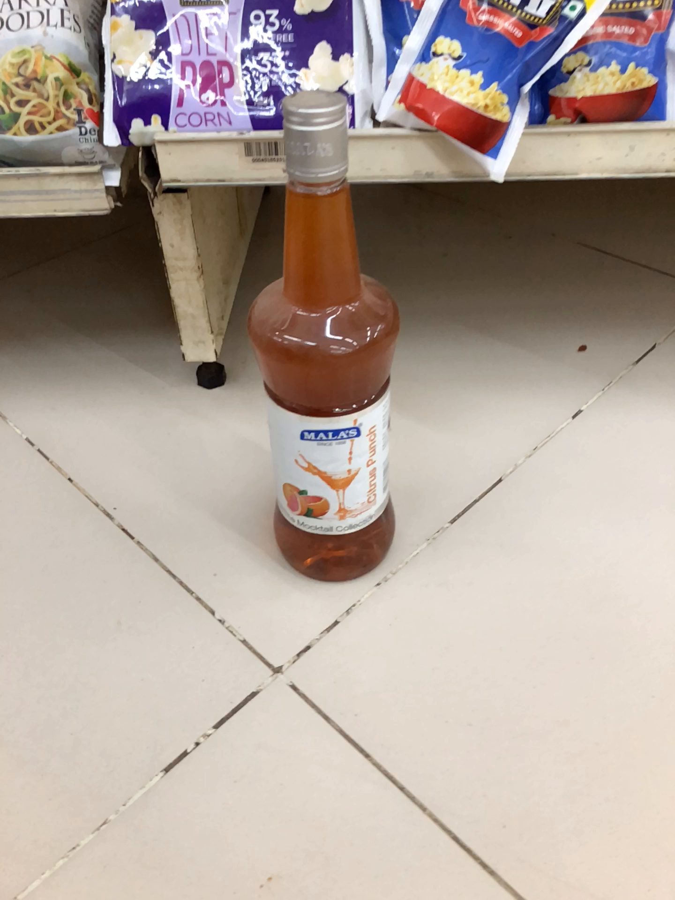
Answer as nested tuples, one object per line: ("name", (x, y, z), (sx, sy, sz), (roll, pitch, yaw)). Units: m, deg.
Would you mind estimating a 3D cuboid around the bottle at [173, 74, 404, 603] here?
("bottle", (-0.012, -0.040, 0.419), (0.090, 0.288, 0.091), (-2, 42, 2))
